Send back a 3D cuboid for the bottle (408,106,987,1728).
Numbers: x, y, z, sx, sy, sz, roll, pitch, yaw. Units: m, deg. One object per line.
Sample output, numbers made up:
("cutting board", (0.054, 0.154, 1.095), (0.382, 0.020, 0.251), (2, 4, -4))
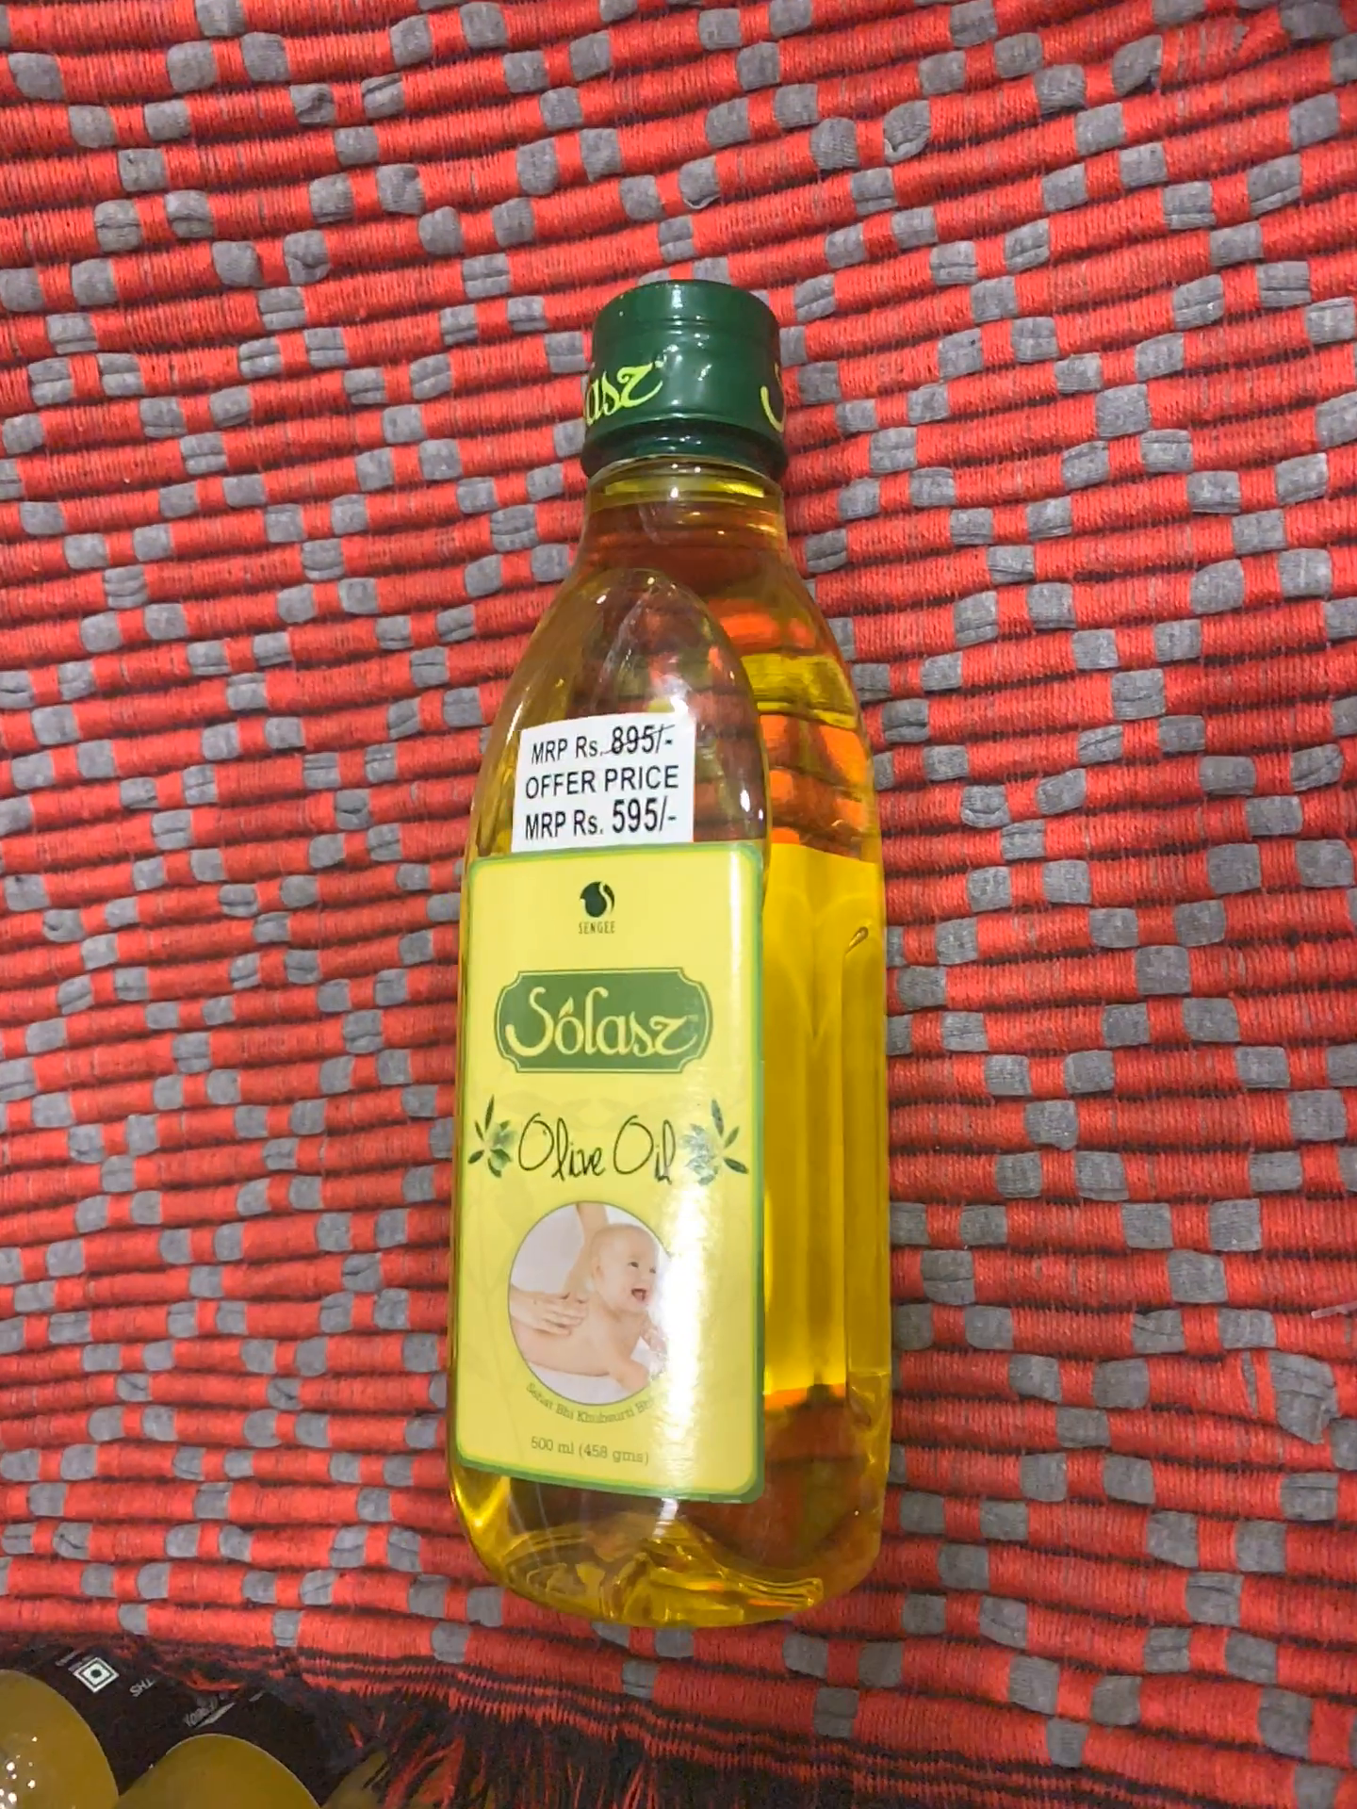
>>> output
("bottle", (0.008, -0.002, 0.231), (0.070, 0.060, 0.220), (-2, 81, 25))
